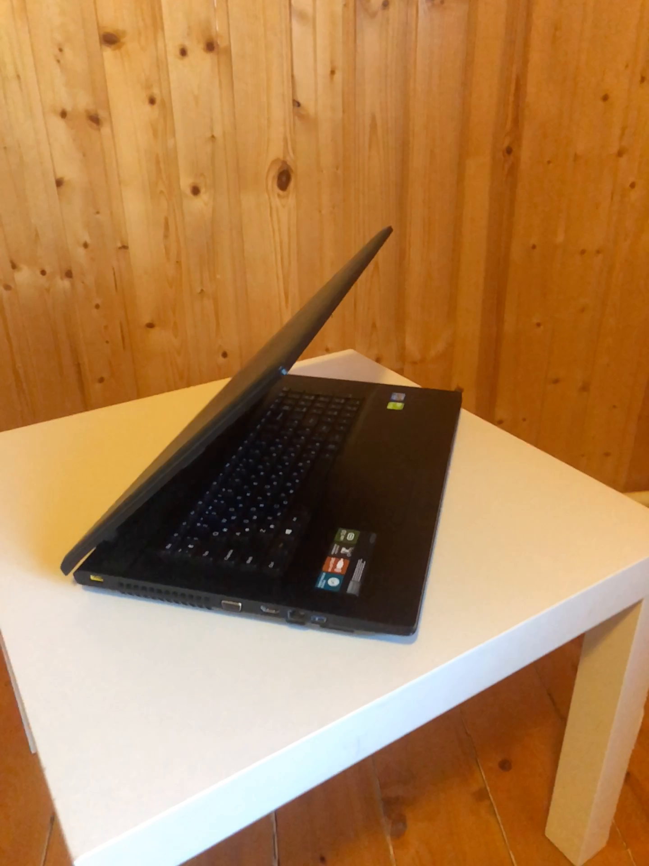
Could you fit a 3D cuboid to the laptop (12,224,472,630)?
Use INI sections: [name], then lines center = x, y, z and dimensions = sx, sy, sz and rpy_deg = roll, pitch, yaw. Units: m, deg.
[laptop]
center = -0.023, -0.053, 0.661
dimensions = 0.271, 0.184, 0.413
rpy_deg = 6, 28, 13
